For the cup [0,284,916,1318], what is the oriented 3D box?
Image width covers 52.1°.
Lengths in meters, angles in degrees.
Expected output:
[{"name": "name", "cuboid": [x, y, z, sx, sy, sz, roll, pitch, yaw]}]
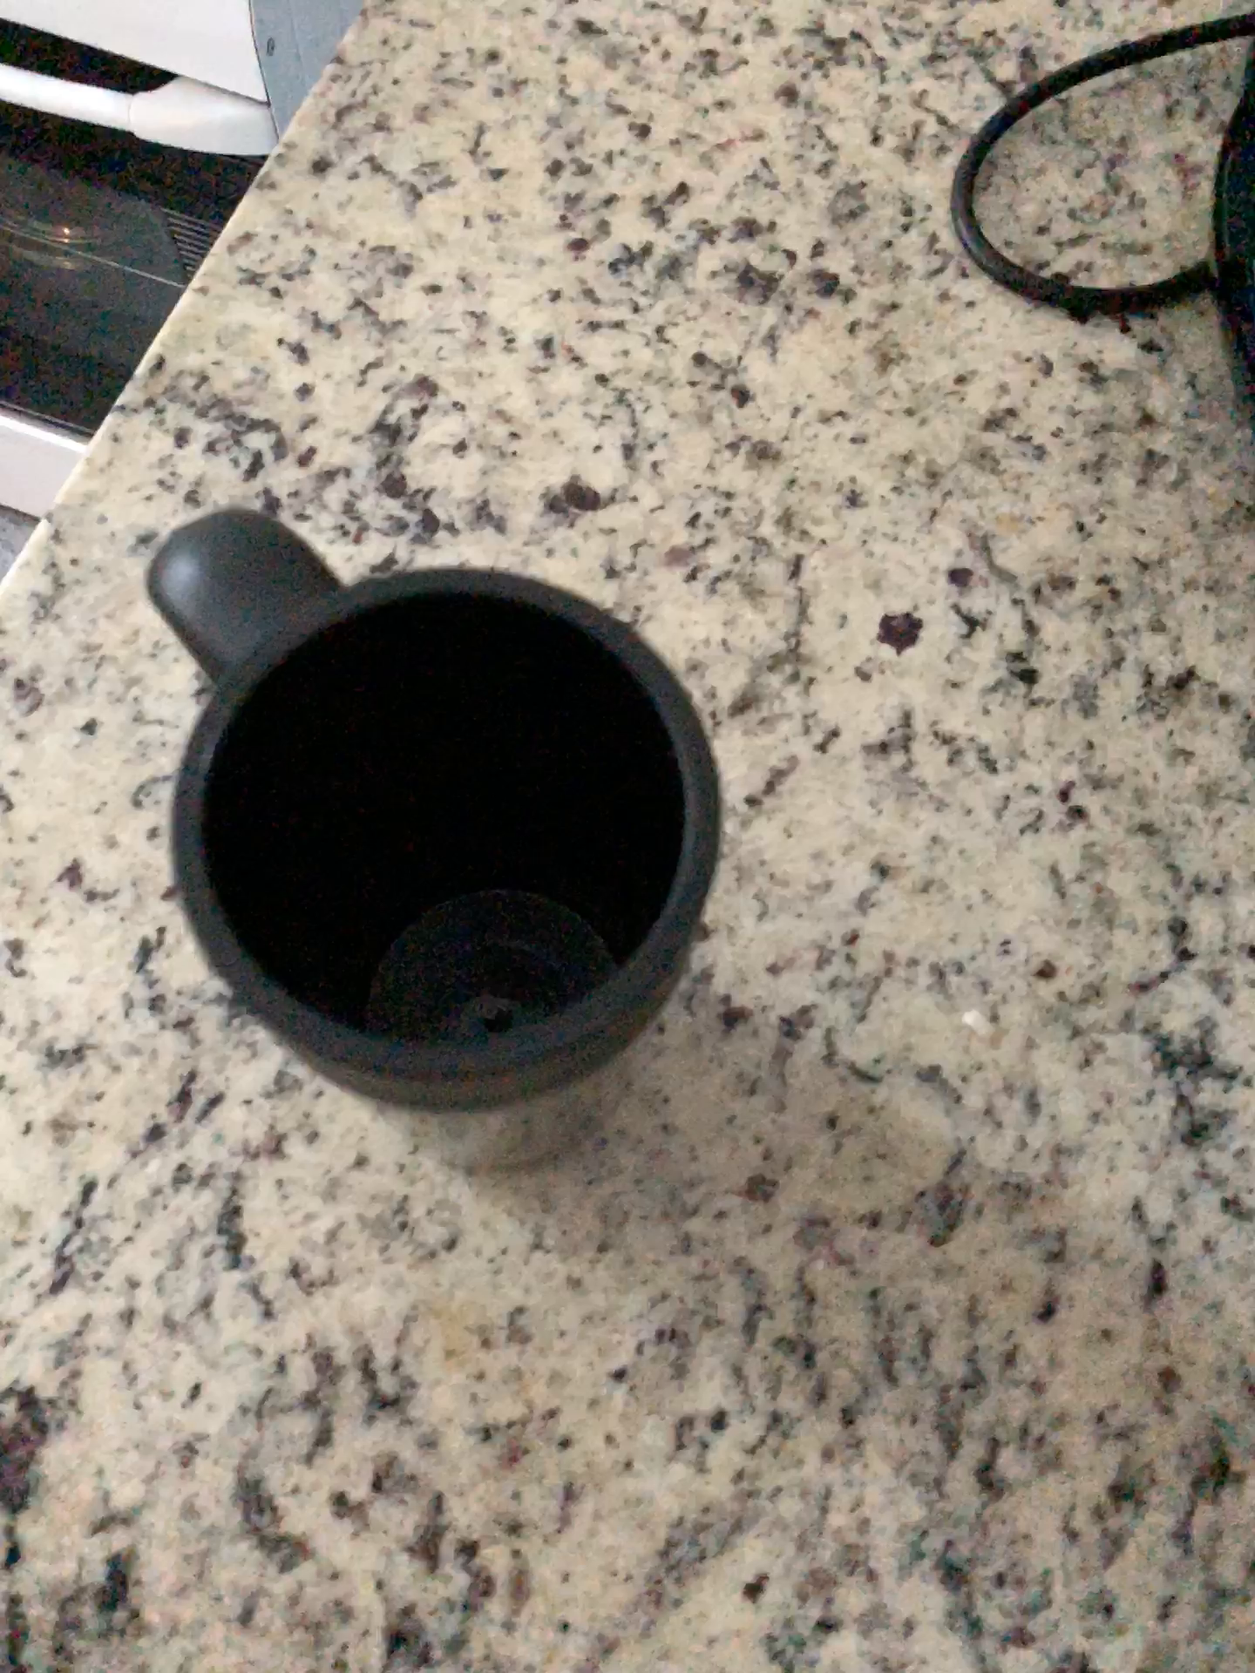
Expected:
[{"name": "cup", "cuboid": [-0.036, 0.010, 0.231, 0.080, 0.140, 0.120, -36, 75, -15]}]
